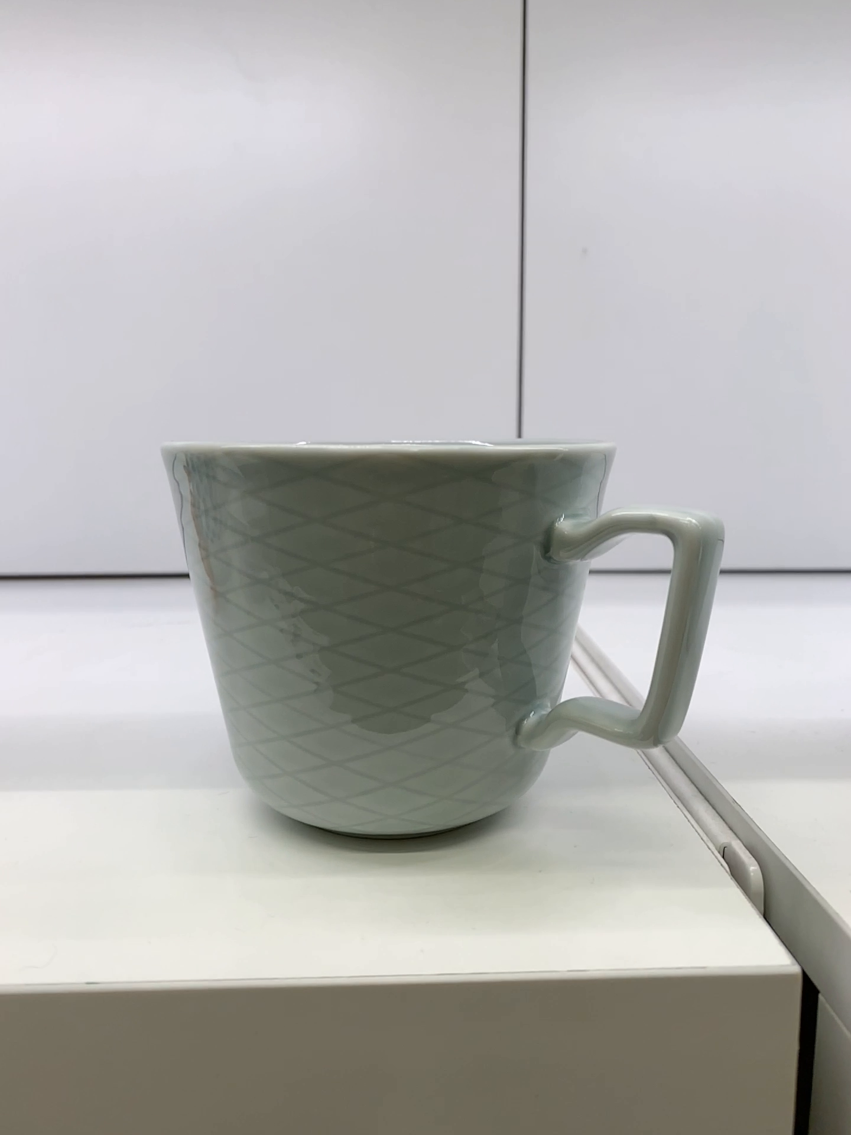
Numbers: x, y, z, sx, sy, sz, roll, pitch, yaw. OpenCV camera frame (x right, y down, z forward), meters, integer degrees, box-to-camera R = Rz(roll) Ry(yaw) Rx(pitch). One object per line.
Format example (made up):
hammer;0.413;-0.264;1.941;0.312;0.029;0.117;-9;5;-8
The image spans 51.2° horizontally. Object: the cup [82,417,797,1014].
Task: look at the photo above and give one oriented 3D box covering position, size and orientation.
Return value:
cup;0.007;0.013;0.208;0.124;0.089;0.109;5;9;34
